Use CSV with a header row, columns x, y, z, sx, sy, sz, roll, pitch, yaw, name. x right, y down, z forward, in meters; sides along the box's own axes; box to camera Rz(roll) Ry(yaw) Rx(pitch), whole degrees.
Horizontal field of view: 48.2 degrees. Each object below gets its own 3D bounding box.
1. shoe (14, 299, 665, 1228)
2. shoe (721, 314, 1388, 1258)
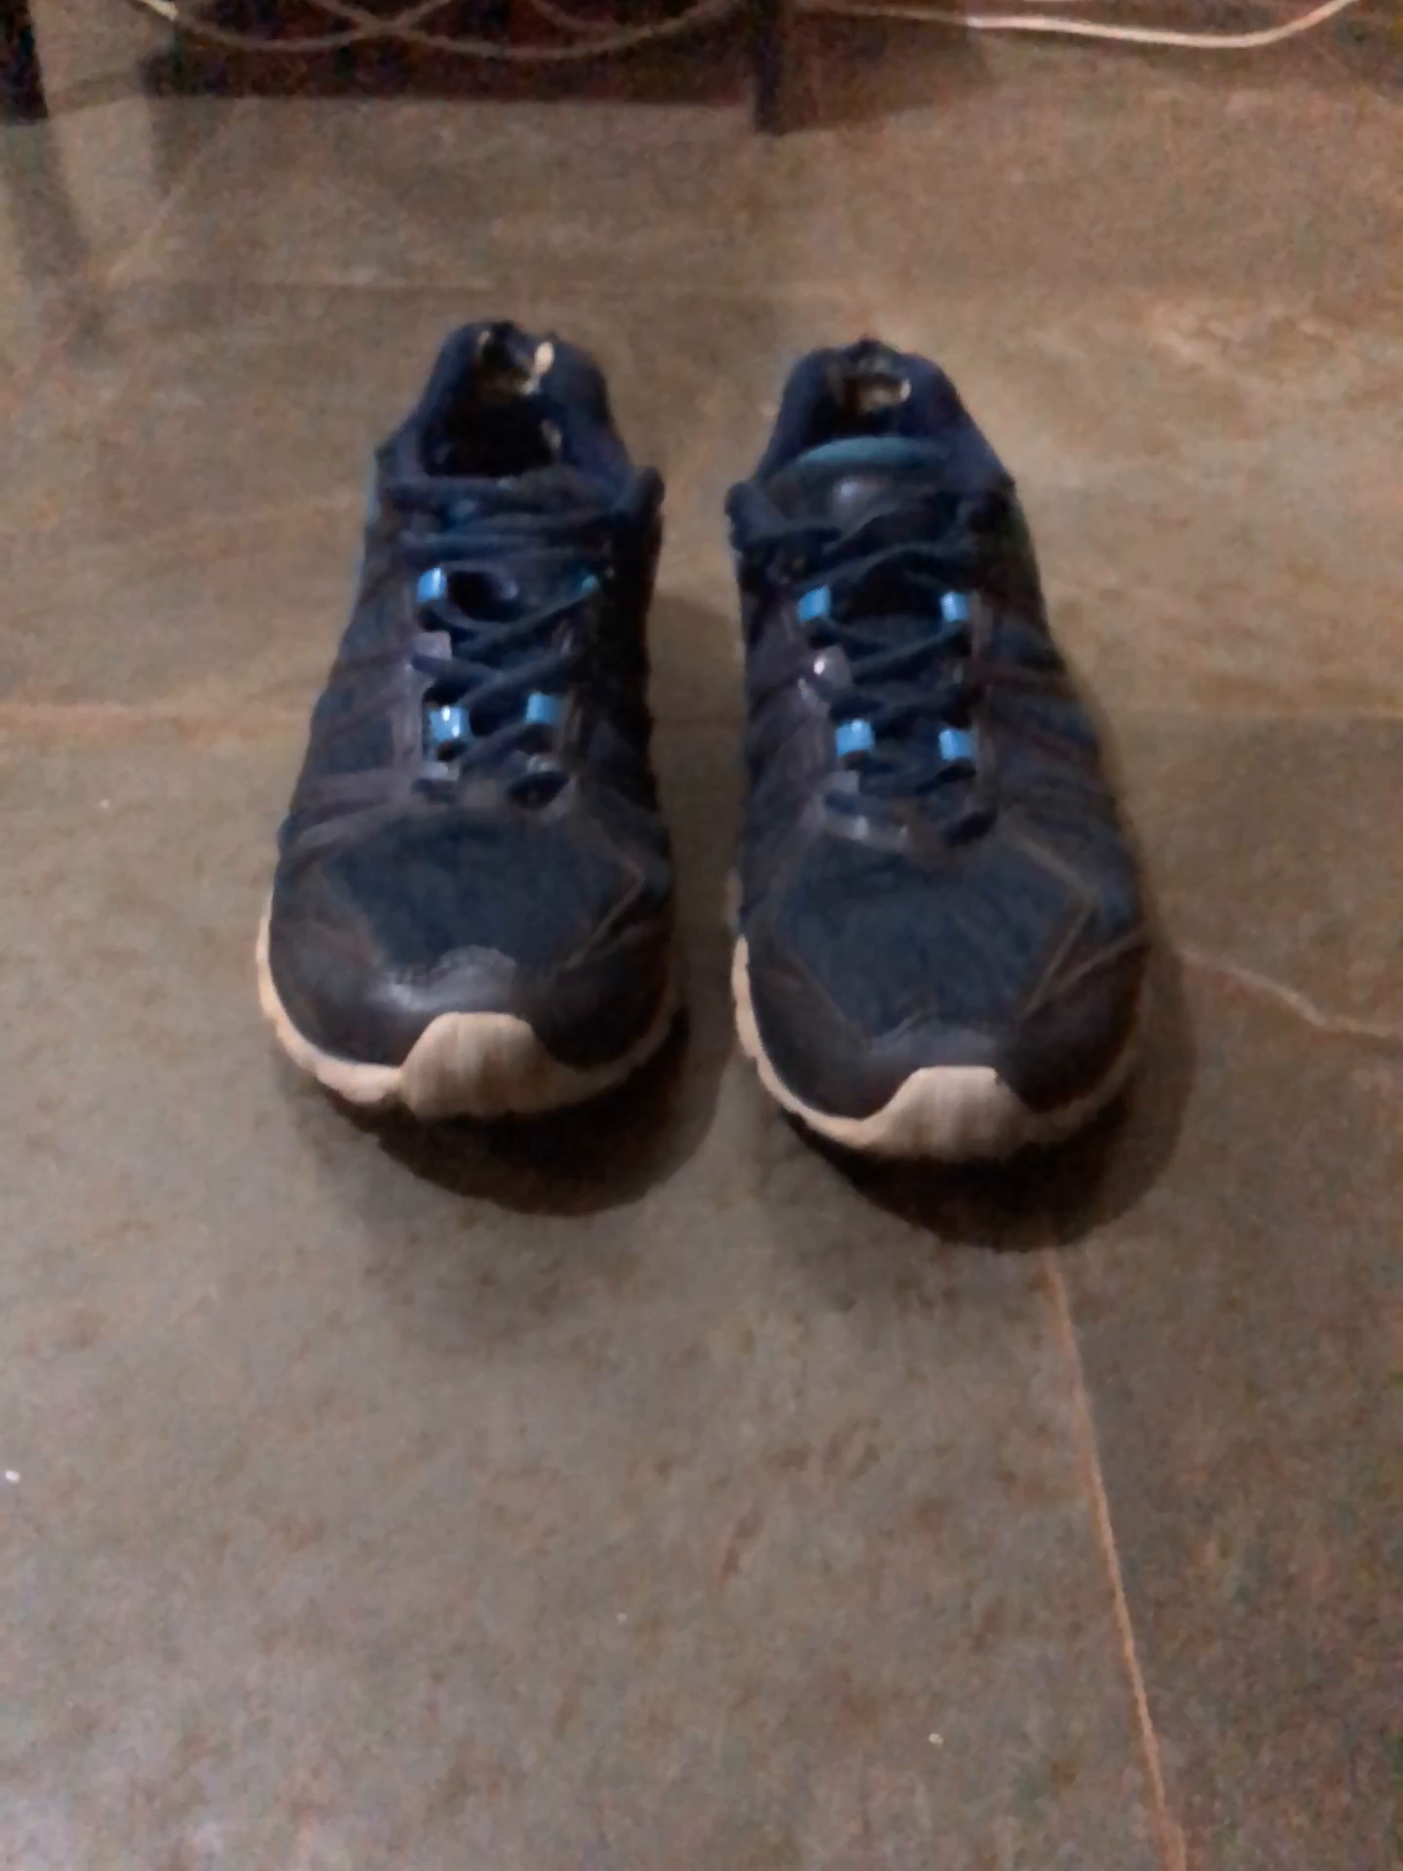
x,y,z,sx,sy,sz,roll,pitch,yaw,name
-0.071,-0.068,0.433,0.120,0.109,0.282,0,42,-2,shoe
0.067,-0.061,0.431,0.120,0.109,0.282,1,42,0,shoe
